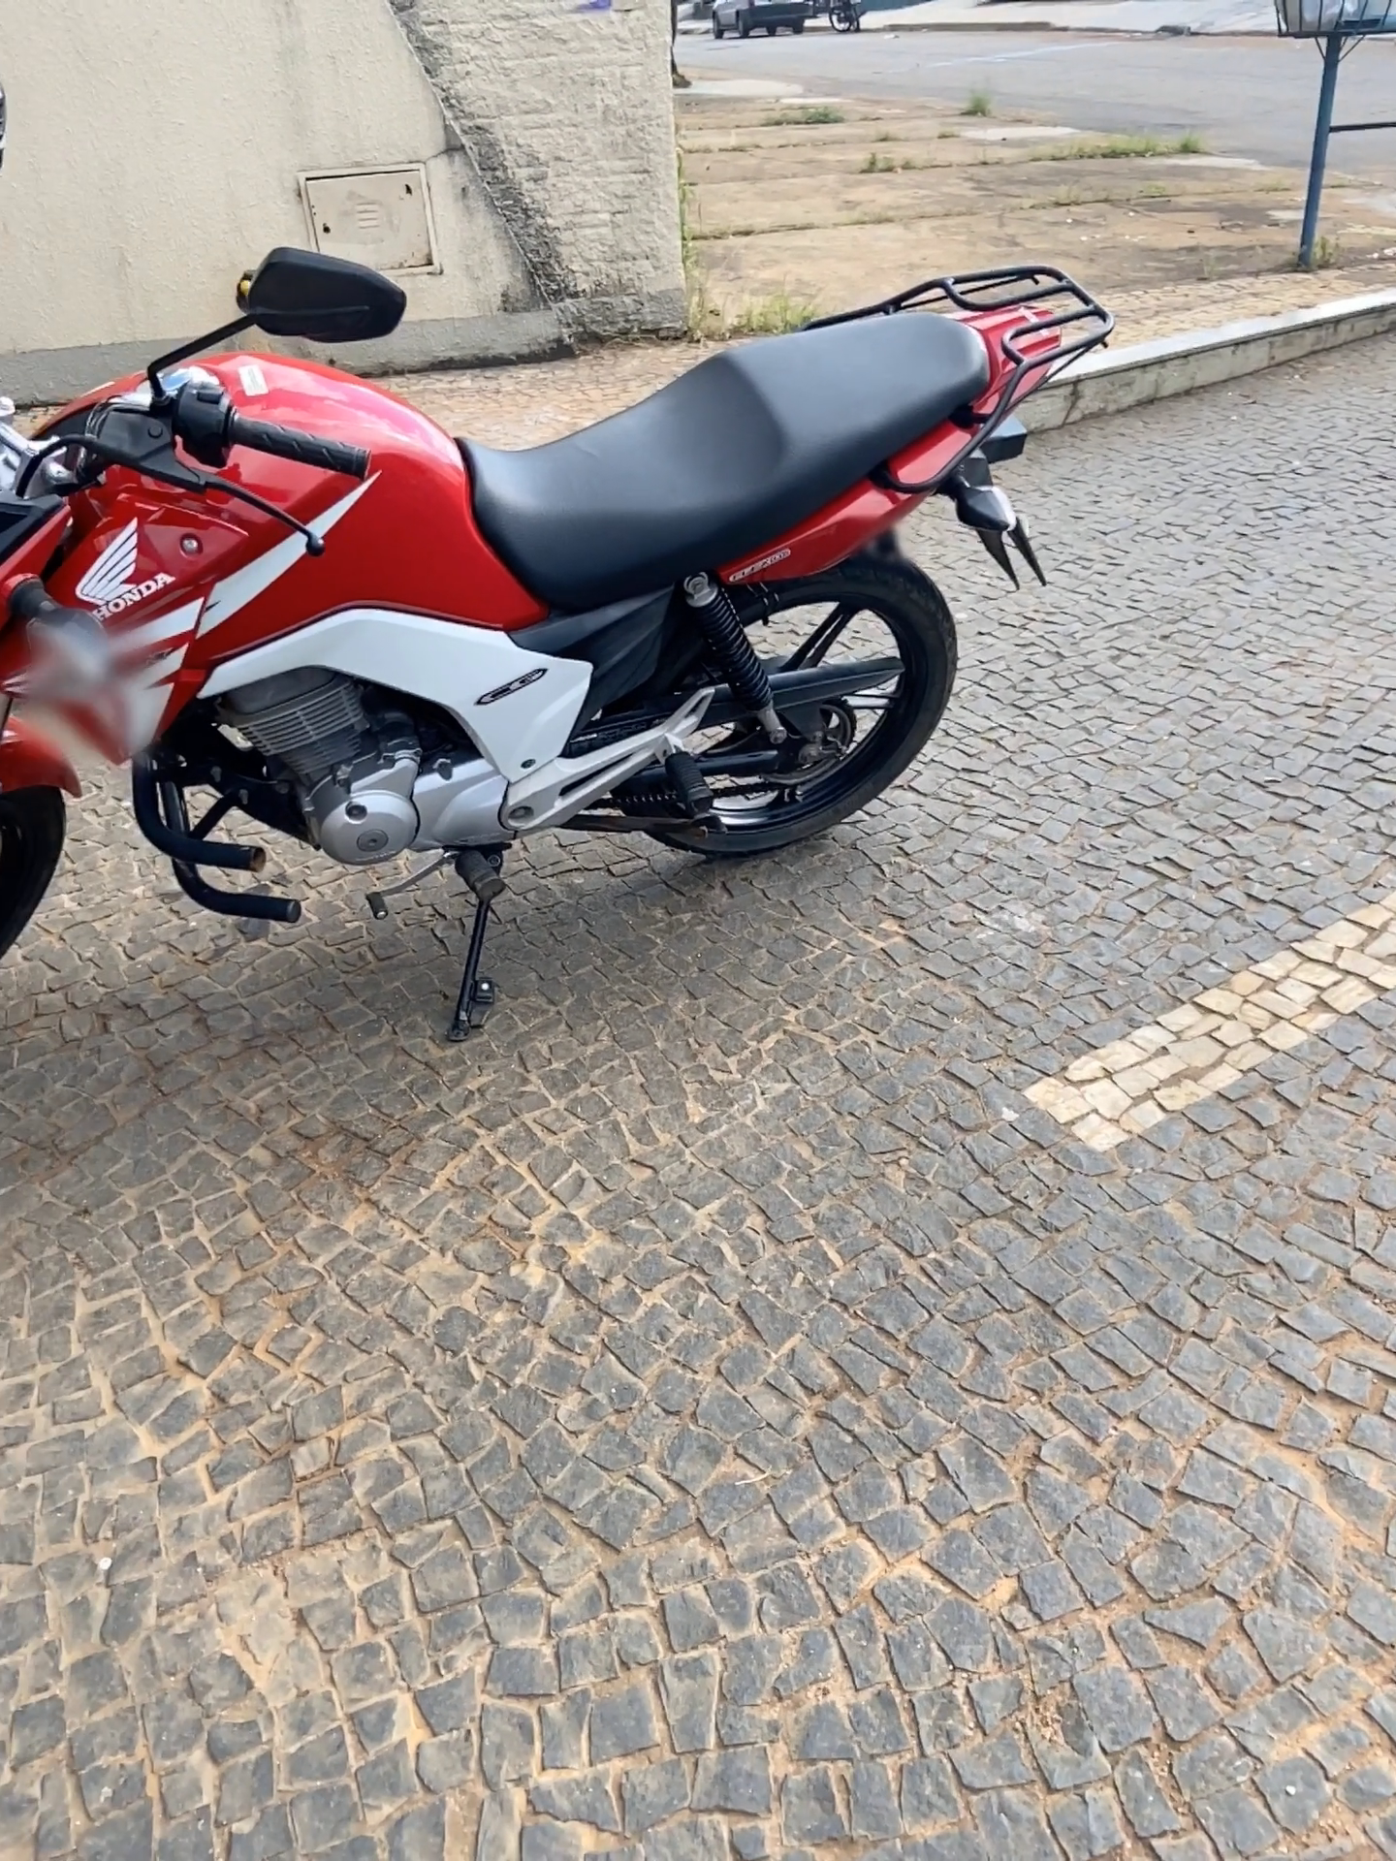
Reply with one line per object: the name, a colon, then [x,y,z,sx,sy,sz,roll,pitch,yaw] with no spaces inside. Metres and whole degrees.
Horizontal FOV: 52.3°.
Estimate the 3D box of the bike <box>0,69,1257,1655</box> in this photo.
bike: [-0.327,-0.313,1.967,2.074,1.382,0.812,-22,36,-27]
